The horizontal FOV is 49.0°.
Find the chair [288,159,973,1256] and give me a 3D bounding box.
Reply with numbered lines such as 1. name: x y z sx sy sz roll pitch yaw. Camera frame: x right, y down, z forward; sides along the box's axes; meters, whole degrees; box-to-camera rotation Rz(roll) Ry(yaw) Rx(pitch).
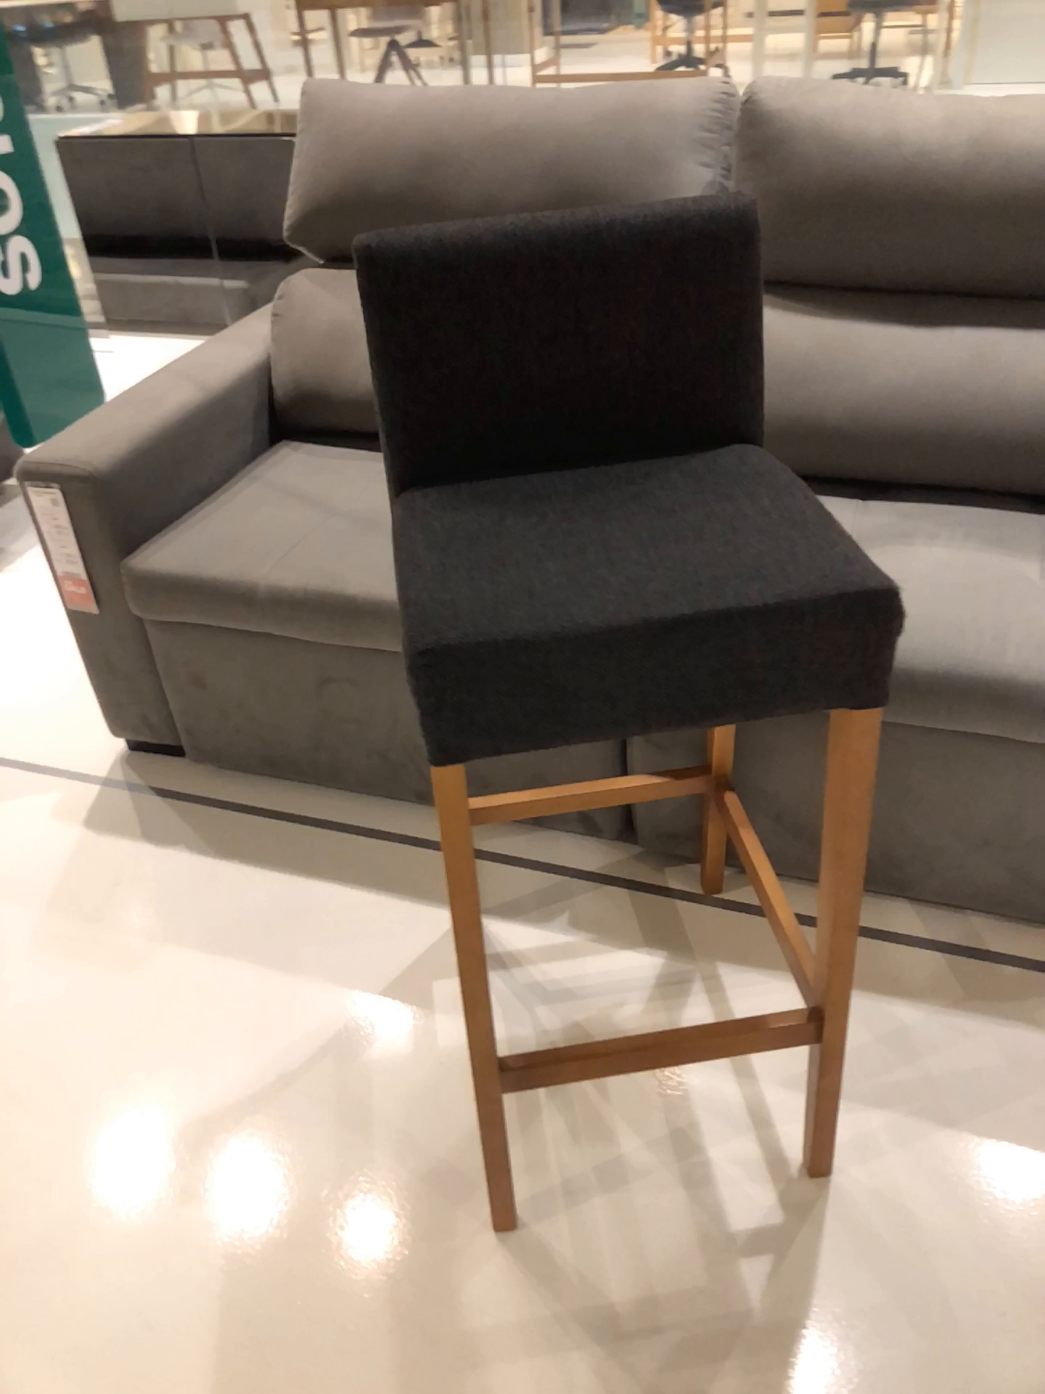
1. chair: 0.067 0.010 1.243 0.450 0.972 0.585 -7 33 -5
